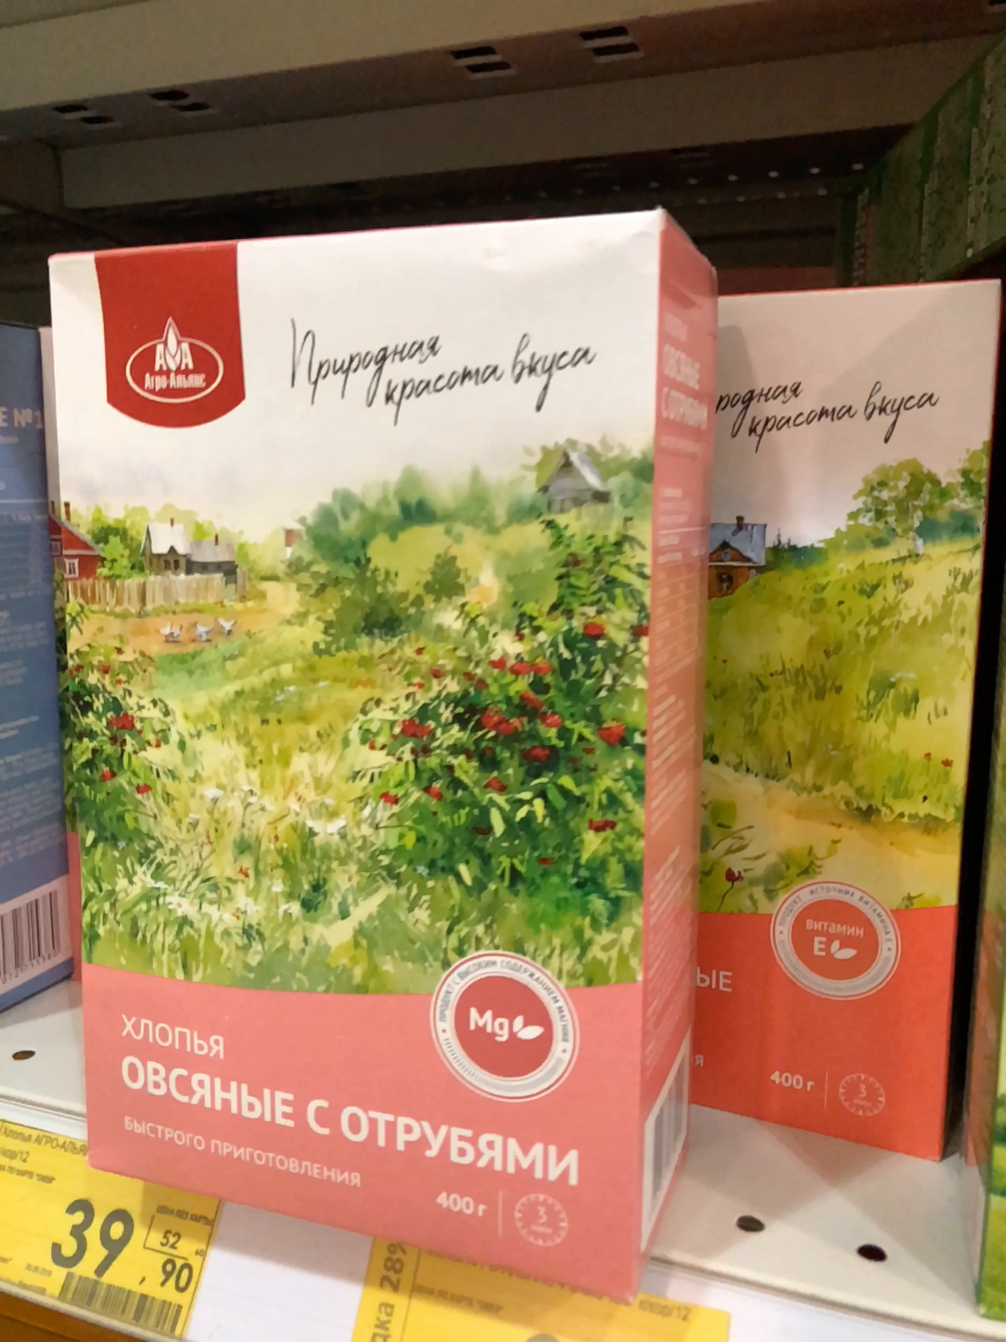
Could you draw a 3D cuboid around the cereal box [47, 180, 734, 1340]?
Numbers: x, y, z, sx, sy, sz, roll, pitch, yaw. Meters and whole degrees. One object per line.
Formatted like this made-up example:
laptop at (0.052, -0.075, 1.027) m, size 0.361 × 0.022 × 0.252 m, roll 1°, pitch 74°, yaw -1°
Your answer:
cereal box at (-0.023, 0.015, 0.247) m, size 0.130 × 0.210 × 0.060 m, roll 4°, pitch 8°, yaw 19°
